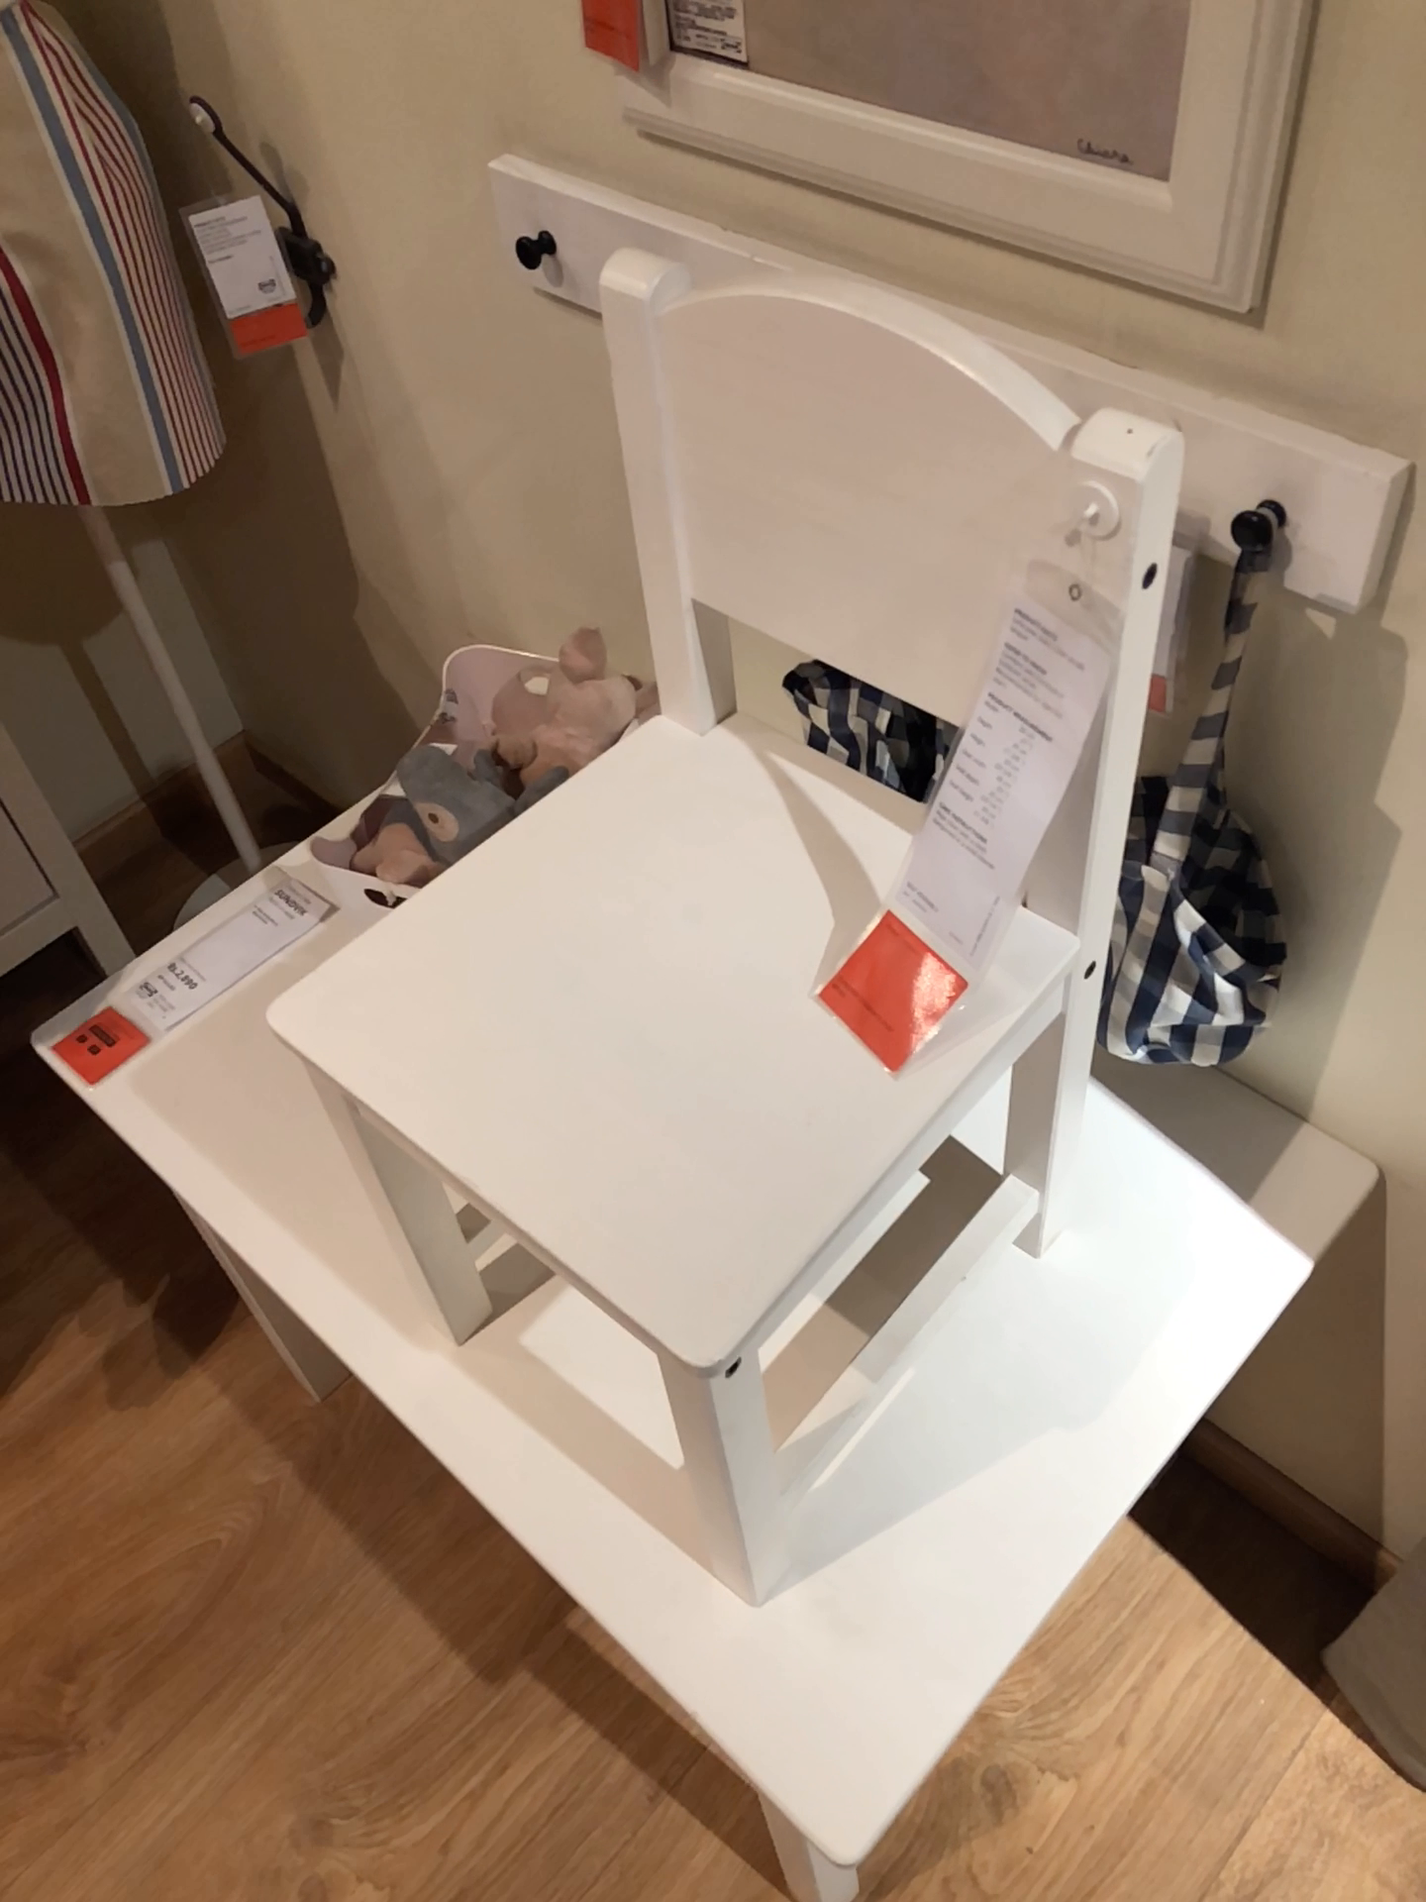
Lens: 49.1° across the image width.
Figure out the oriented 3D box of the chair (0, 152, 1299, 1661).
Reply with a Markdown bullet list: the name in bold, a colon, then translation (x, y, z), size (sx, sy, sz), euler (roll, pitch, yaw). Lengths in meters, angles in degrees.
- **chair**: translation (0.003, 0.010, 0.724), size (0.301, 0.557, 0.321), euler (31, 59, 29)
